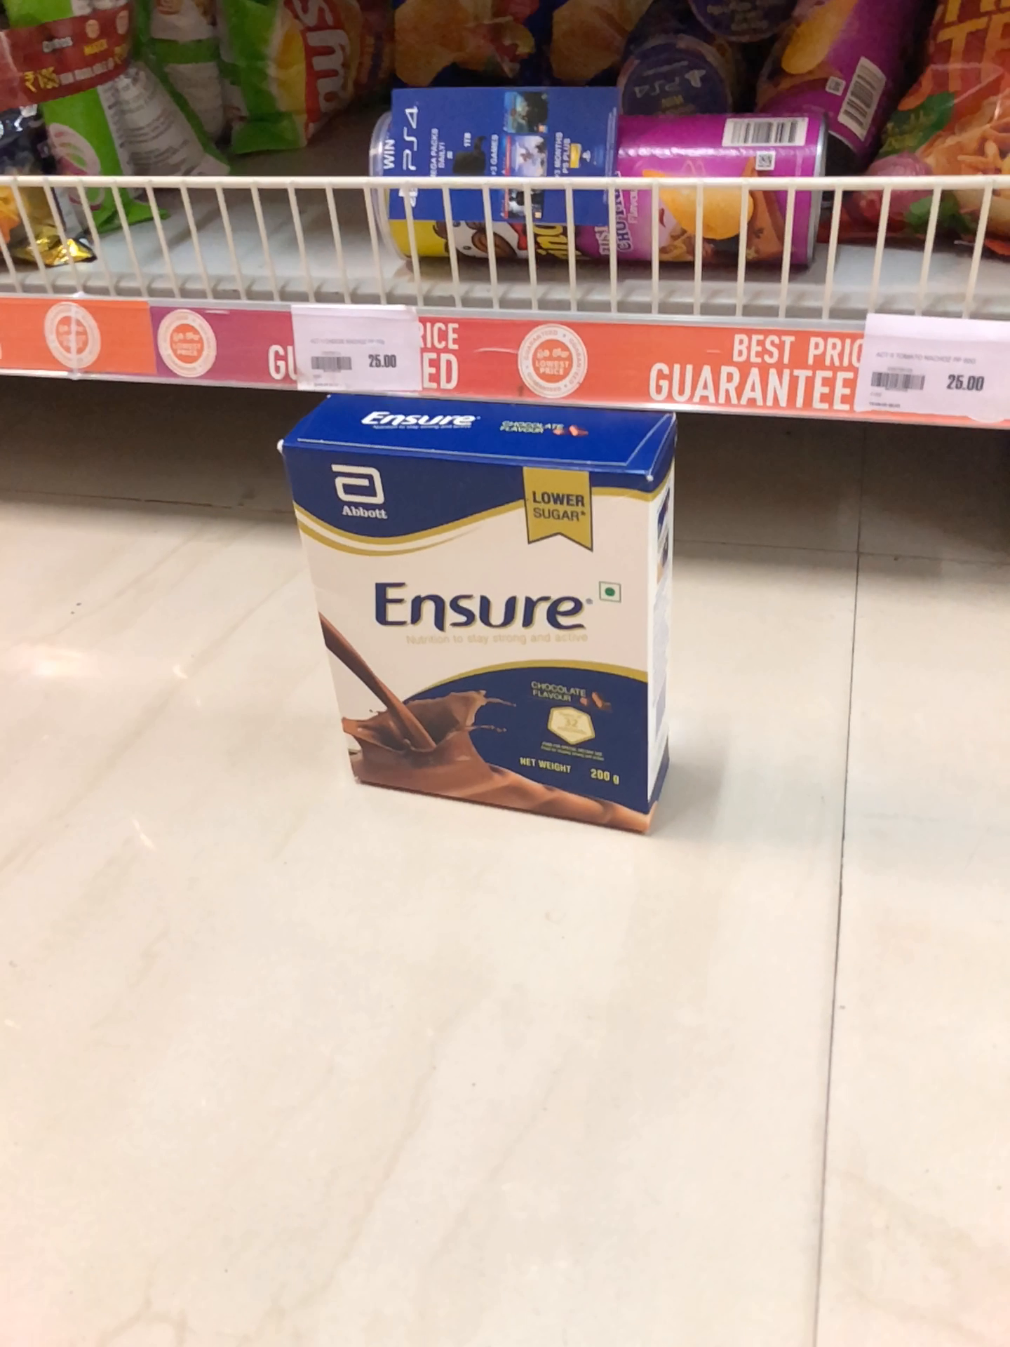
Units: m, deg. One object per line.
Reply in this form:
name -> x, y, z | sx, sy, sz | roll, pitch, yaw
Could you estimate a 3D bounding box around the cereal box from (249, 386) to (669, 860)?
cereal box -> -0.009, -0.017, 0.448 | 0.140, 0.179, 0.050 | 8, 41, 17
